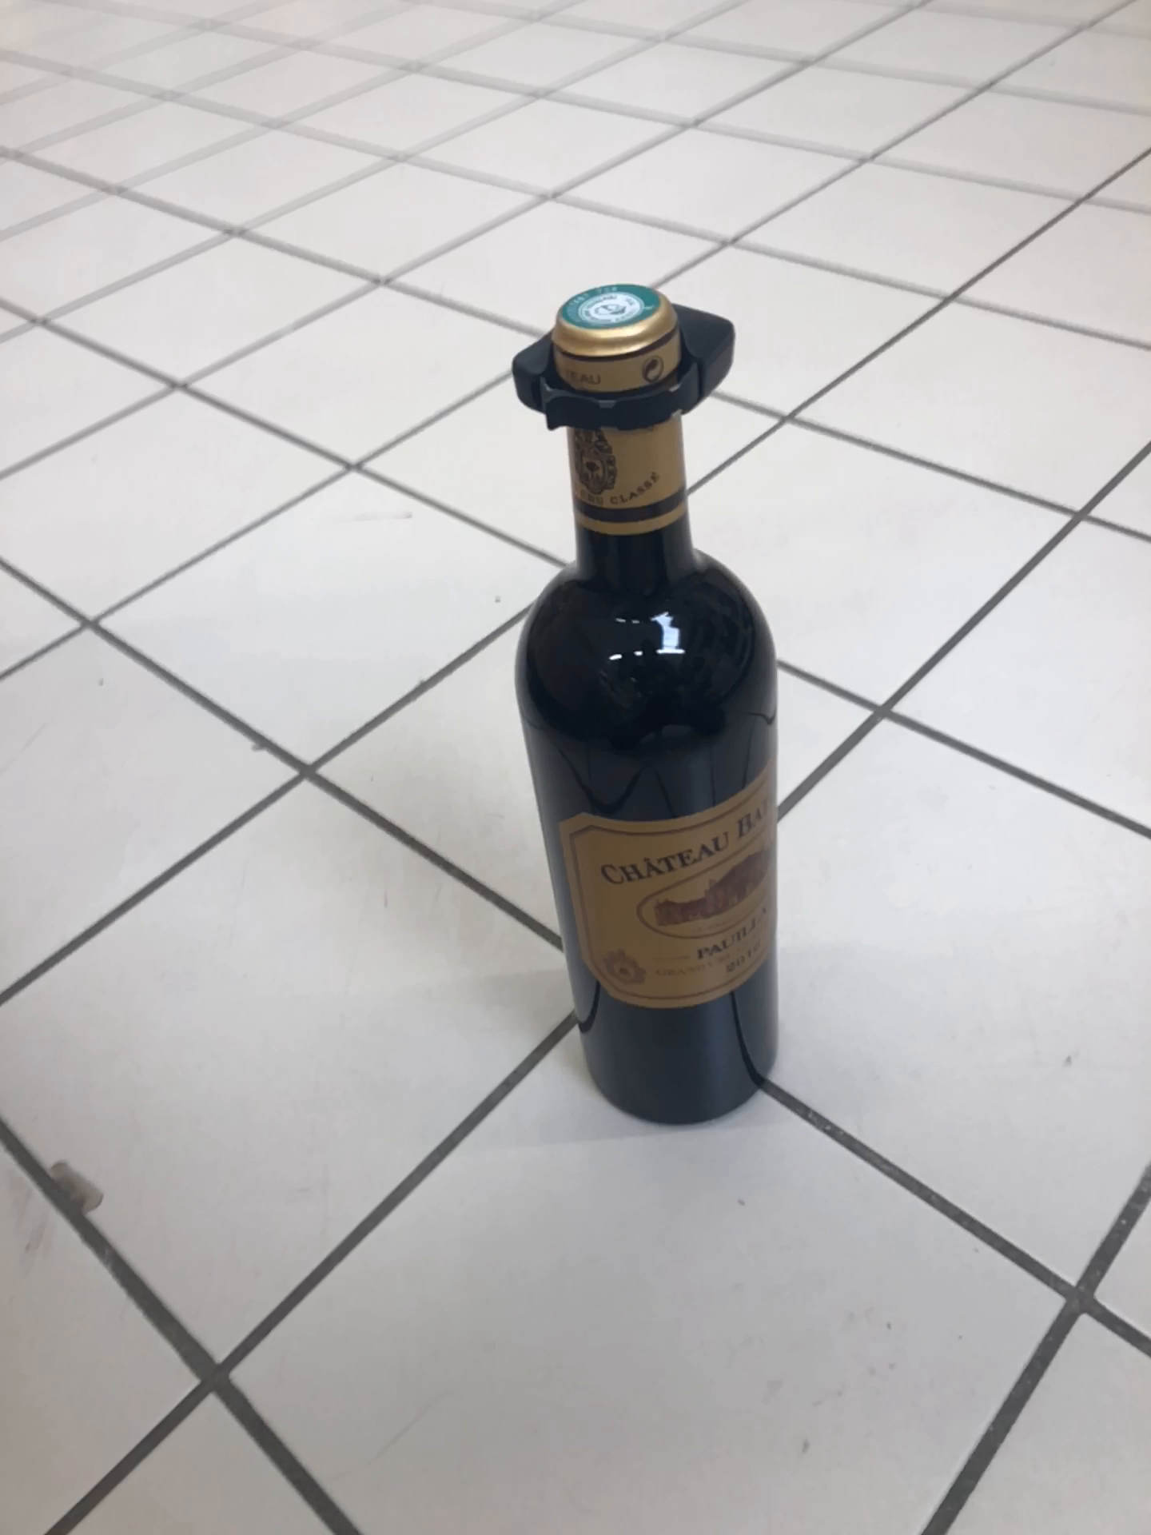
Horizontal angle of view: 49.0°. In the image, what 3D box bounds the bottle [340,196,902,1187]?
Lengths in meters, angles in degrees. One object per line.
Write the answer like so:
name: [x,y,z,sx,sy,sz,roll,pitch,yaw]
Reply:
bottle: [0.023,-0.002,0.385,0.090,0.288,0.090,-4,44,4]
